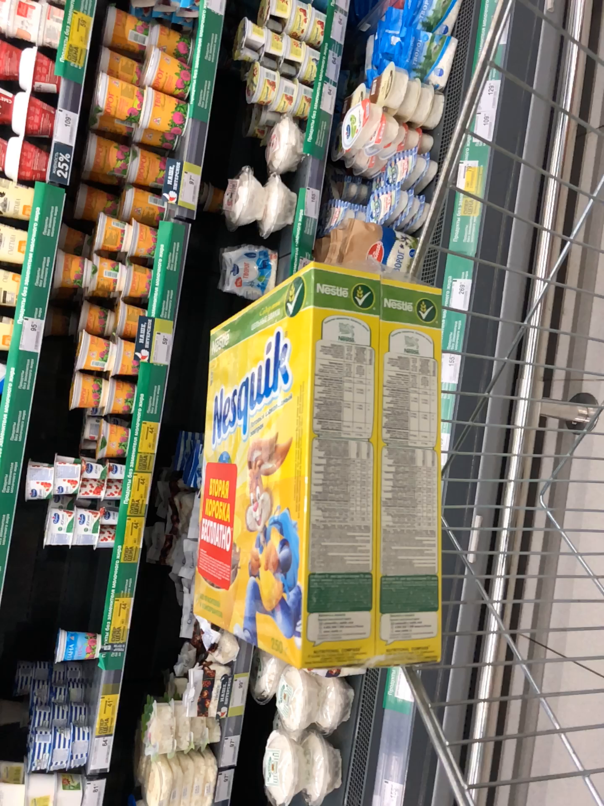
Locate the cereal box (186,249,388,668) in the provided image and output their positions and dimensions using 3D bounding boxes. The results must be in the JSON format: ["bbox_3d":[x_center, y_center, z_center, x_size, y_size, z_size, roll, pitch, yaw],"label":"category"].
[{"bbox_3d":[-0.020,0.042,0.484,0.211,0.050,0.240,-16,70,62],"label":"cereal box"}]

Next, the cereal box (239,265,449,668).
[{"bbox_3d":[0.022,0.048,0.500,0.211,0.050,0.240,-16,70,62],"label":"cereal box"}]
